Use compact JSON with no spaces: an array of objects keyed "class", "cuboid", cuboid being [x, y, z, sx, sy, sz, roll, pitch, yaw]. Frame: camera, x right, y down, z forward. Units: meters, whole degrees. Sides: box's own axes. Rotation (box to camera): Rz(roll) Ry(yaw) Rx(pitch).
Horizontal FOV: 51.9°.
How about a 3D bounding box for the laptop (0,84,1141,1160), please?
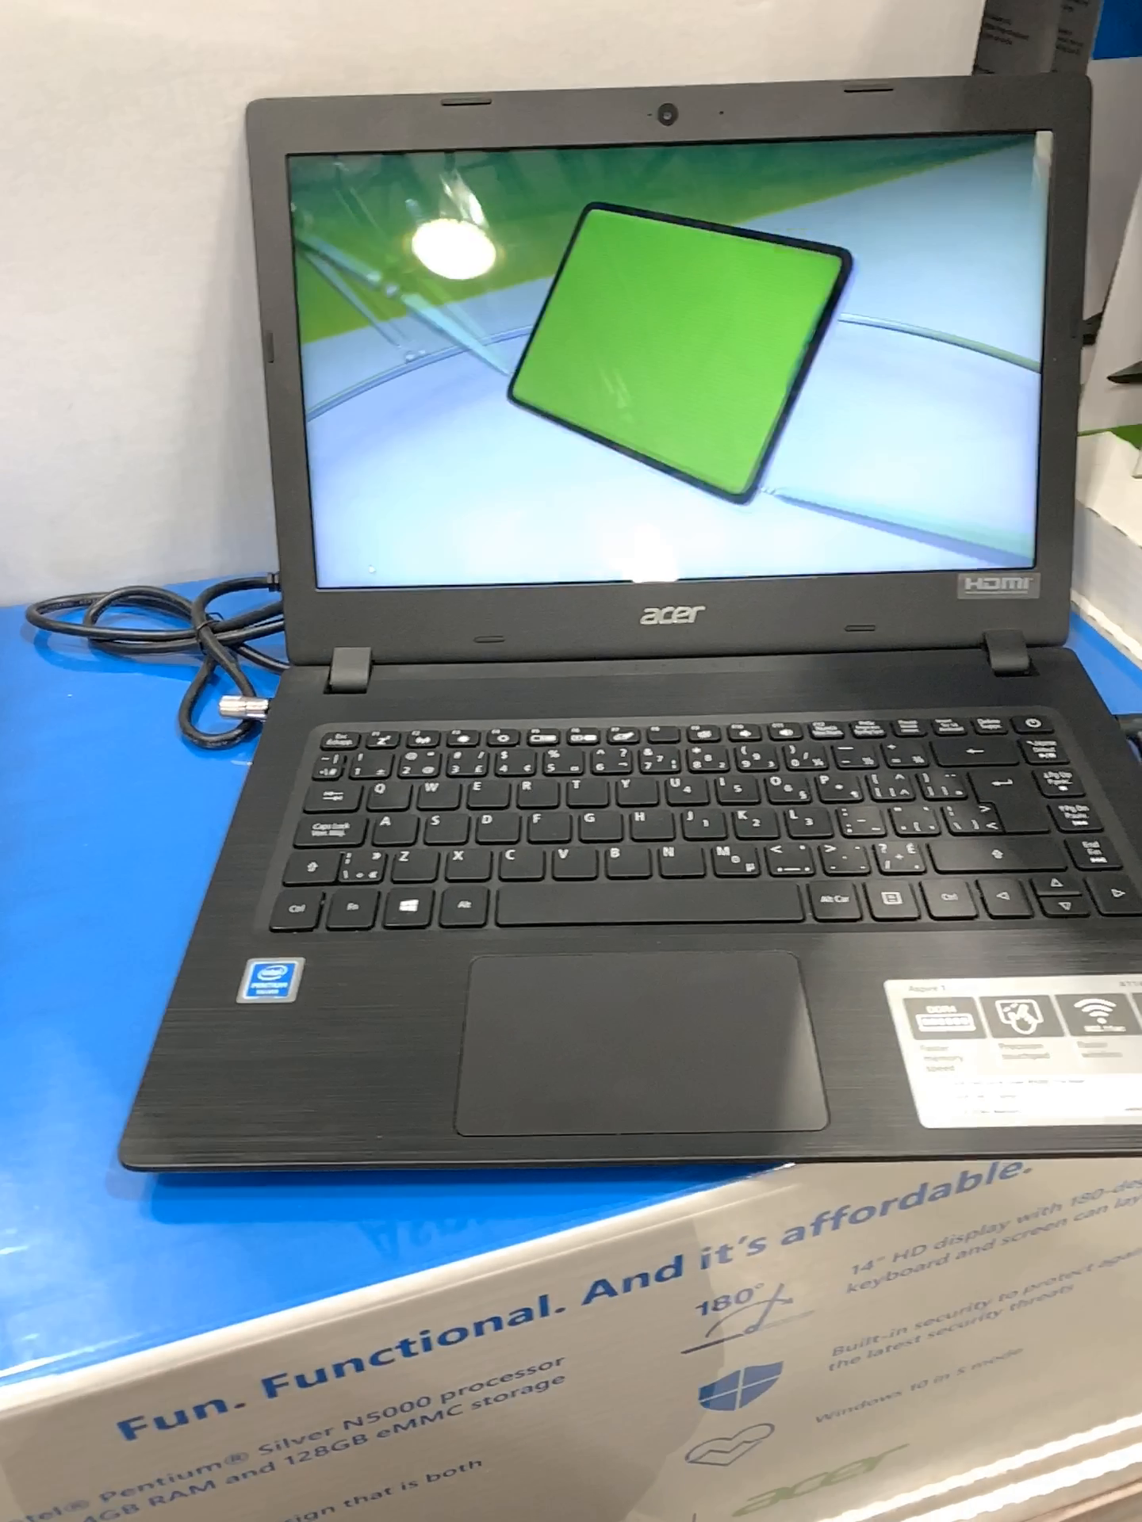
[{"class":"laptop","cuboid":[0.041,-0.074,0.372,0.318,0.186,0.329,-1,39,1]}]
